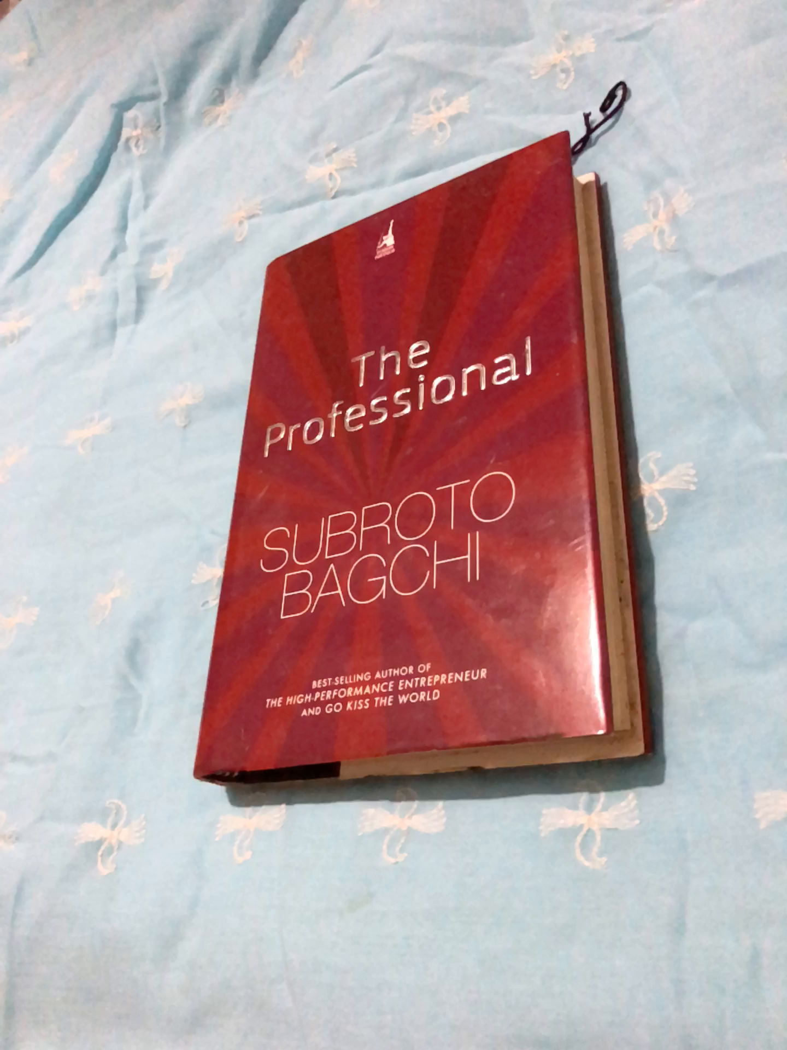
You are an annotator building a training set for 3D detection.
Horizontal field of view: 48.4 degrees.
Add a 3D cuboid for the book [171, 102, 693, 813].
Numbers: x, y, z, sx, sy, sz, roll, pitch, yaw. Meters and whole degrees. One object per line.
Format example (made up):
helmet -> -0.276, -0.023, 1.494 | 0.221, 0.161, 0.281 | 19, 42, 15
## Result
book -> 0.009, -0.023, 0.293 | 0.150, 0.030, 0.220 | -12, 60, 29
